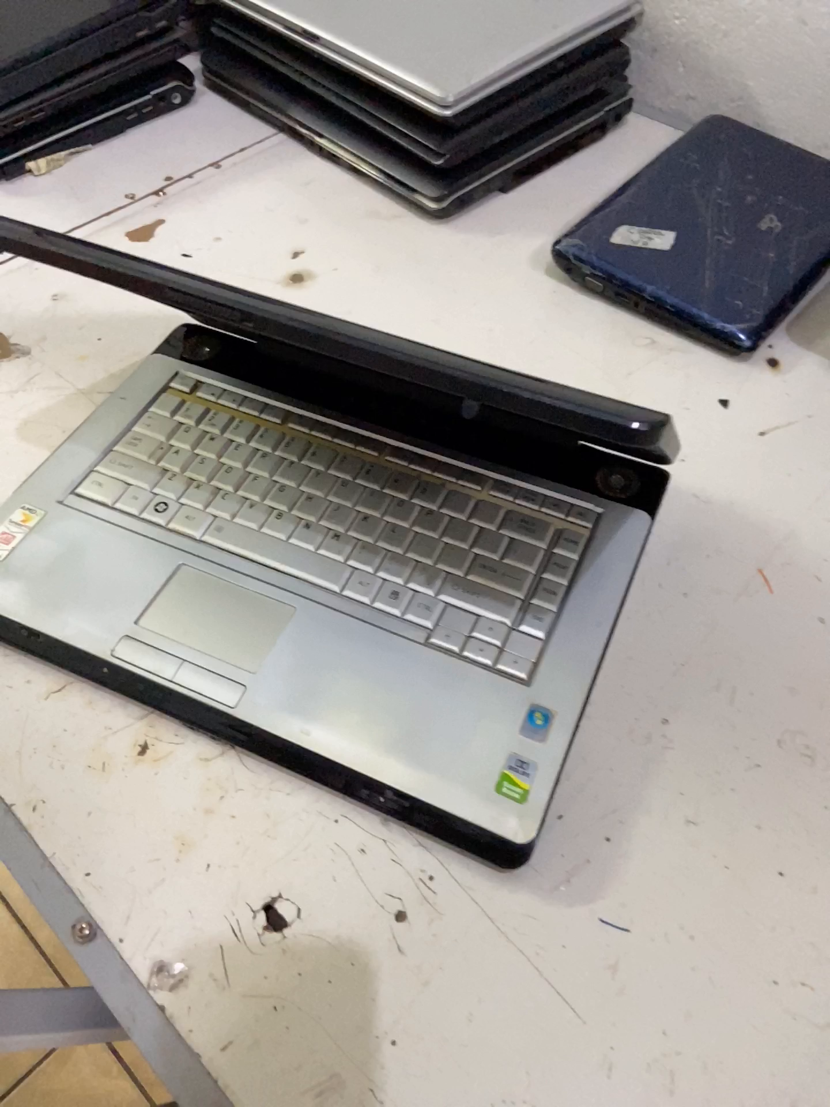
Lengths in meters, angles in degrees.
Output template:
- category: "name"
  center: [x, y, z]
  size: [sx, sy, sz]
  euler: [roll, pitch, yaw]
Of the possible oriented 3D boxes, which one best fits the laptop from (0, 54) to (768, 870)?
- category: "laptop"
  center: [-0.060, -0.066, 0.427]
  size: [0.356, 0.185, 0.257]
  euler: [20, 57, 16]
